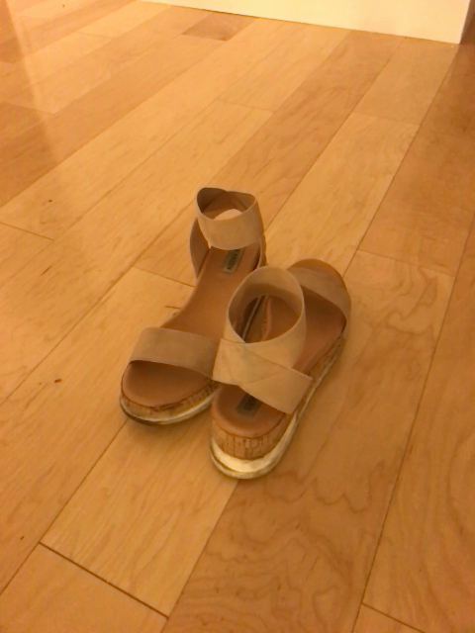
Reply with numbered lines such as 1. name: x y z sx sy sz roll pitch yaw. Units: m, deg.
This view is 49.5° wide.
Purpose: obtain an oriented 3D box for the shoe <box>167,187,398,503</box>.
1. shoe: 0.054 0.008 0.466 0.090 0.109 0.272 19 49 19

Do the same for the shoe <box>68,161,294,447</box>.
1. shoe: -0.033 -0.030 0.506 0.100 0.109 0.272 14 48 15
